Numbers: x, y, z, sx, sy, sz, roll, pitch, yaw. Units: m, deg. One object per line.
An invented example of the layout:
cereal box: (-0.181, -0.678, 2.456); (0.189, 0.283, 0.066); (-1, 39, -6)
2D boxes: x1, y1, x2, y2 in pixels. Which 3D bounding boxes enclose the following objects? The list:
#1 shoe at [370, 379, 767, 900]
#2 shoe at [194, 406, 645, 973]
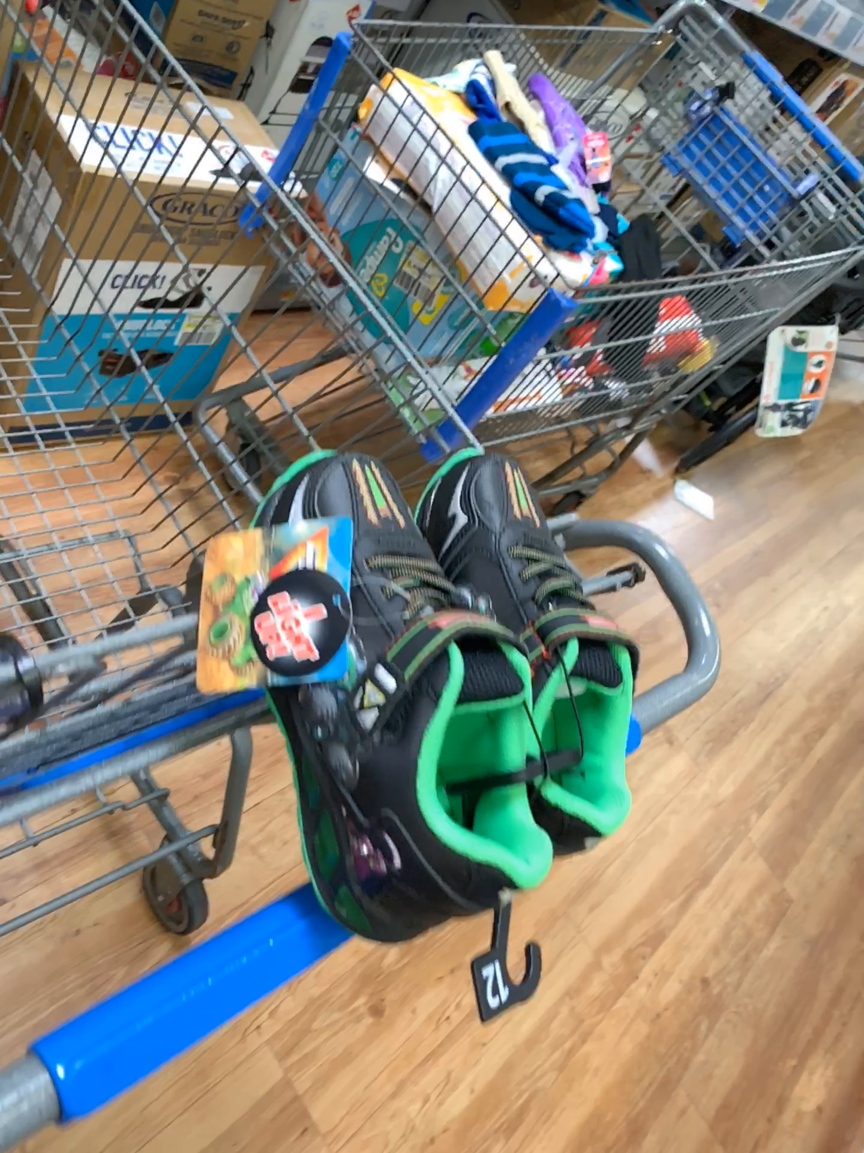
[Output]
shoe: (0.052, 0.025, 0.416); (0.089, 0.086, 0.214); (6, 55, -35)
shoe: (-0.015, 0.040, 0.368); (0.095, 0.093, 0.195); (-1, 60, -39)
